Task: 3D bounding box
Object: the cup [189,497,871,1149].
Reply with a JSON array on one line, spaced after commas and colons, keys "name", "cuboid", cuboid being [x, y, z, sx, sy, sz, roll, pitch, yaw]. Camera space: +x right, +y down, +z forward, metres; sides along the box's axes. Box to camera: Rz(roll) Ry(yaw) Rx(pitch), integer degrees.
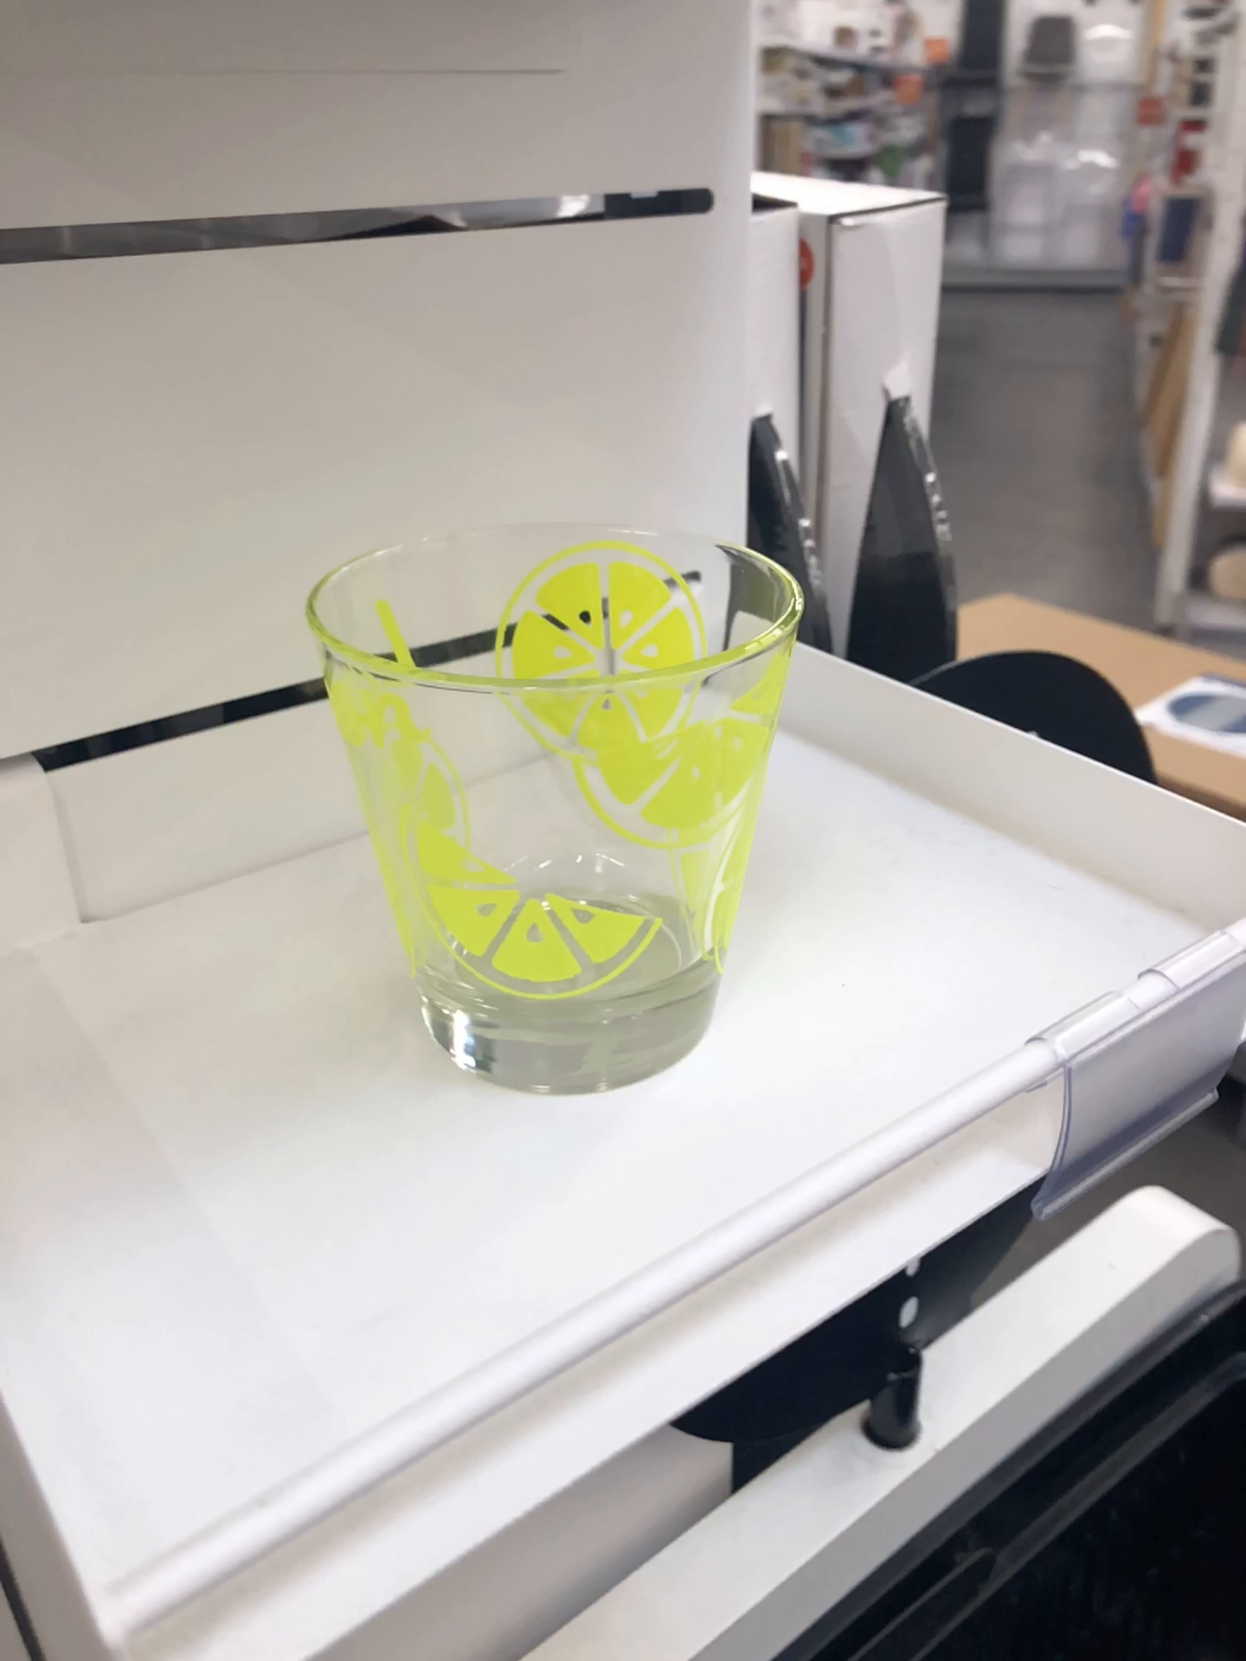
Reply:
[{"name": "cup", "cuboid": [-0.011, -0.009, 0.247, 0.084, 0.075, 0.080, -1, 27, 1]}]
